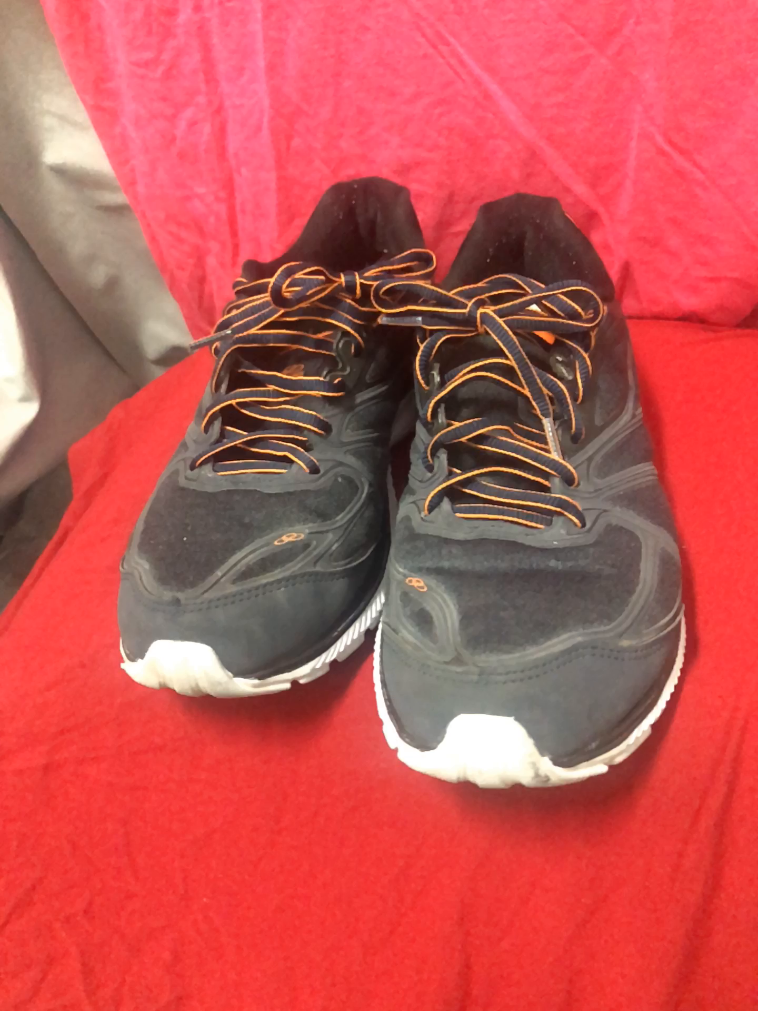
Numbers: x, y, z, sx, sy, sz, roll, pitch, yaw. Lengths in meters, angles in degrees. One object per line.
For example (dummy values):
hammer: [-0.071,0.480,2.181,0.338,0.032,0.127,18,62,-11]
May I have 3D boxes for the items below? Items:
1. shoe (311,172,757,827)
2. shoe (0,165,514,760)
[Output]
shoe: [0.064,-0.032,0.339,0.110,0.099,0.282,0,40,11]
shoe: [-0.021,-0.049,0.355,0.110,0.089,0.282,5,41,17]
